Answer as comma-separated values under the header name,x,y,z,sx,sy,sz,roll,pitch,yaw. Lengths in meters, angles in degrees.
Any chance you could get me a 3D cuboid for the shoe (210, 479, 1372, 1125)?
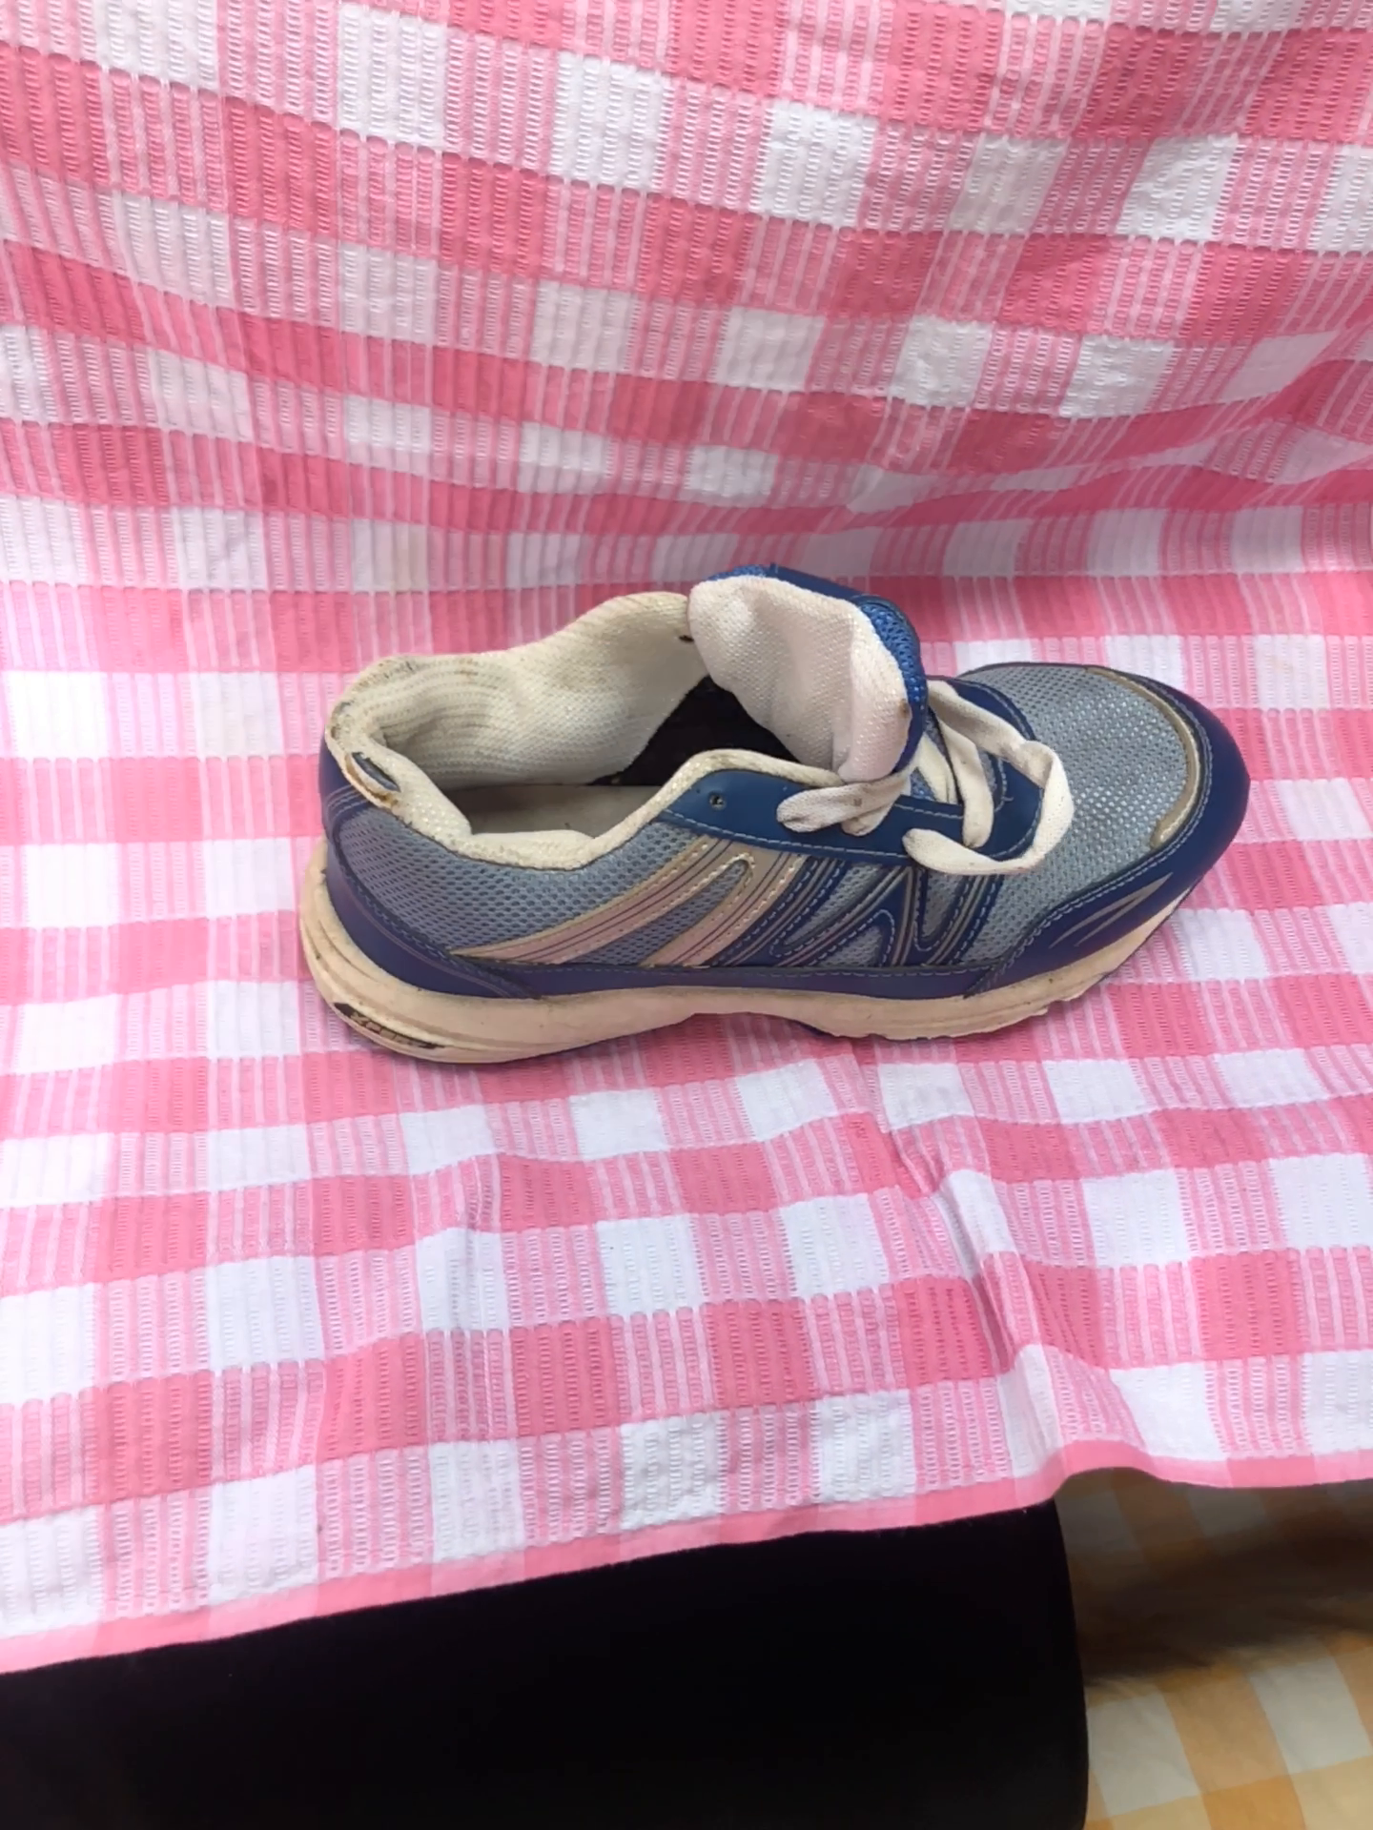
name,x,y,z,sx,sy,sz,roll,pitch,yaw
shoe,0.027,-0.034,0.412,0.280,0.100,0.110,-6,52,-8
